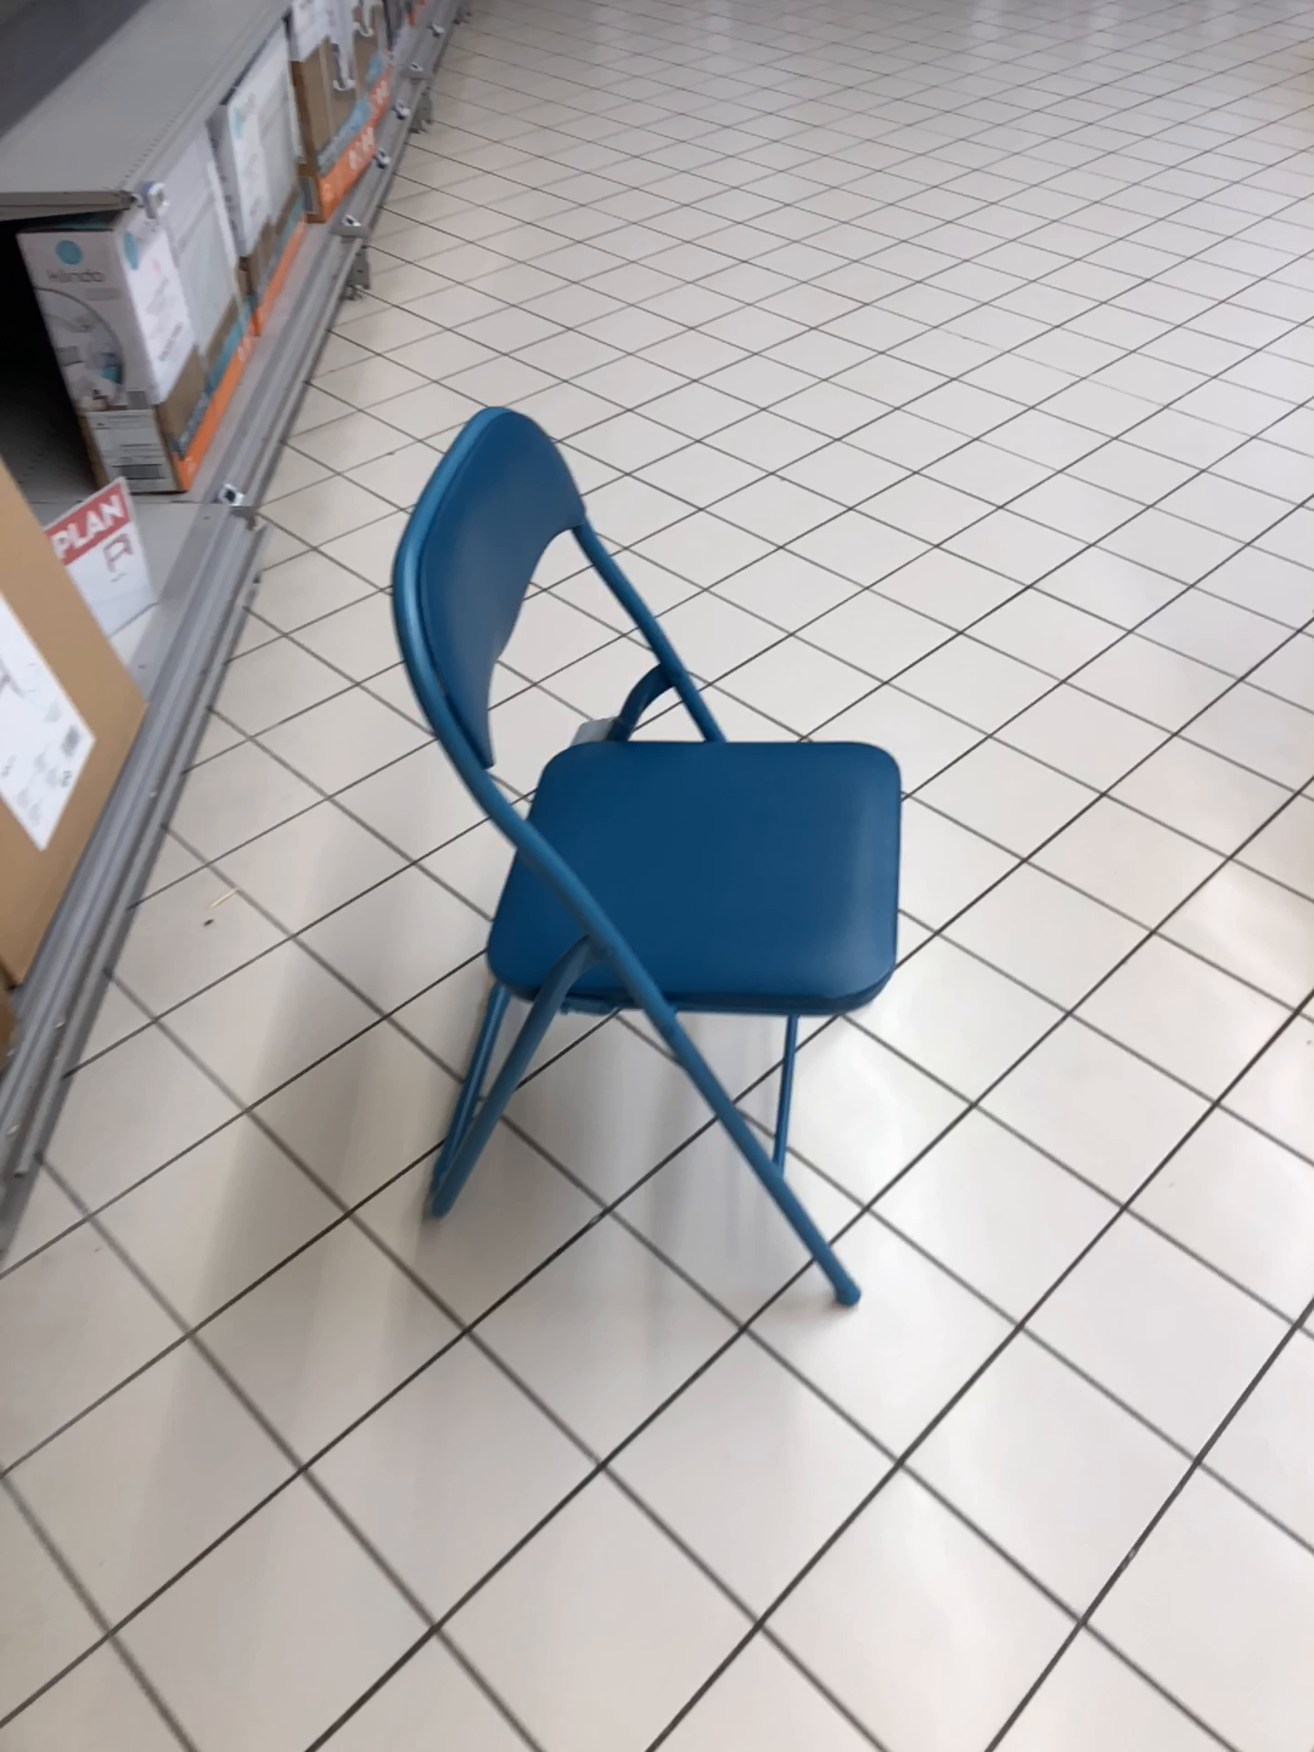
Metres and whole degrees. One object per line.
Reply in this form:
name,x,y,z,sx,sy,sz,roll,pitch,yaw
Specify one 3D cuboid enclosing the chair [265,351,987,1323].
chair,0.014,-0.025,1.417,0.500,0.765,0.503,6,42,7
